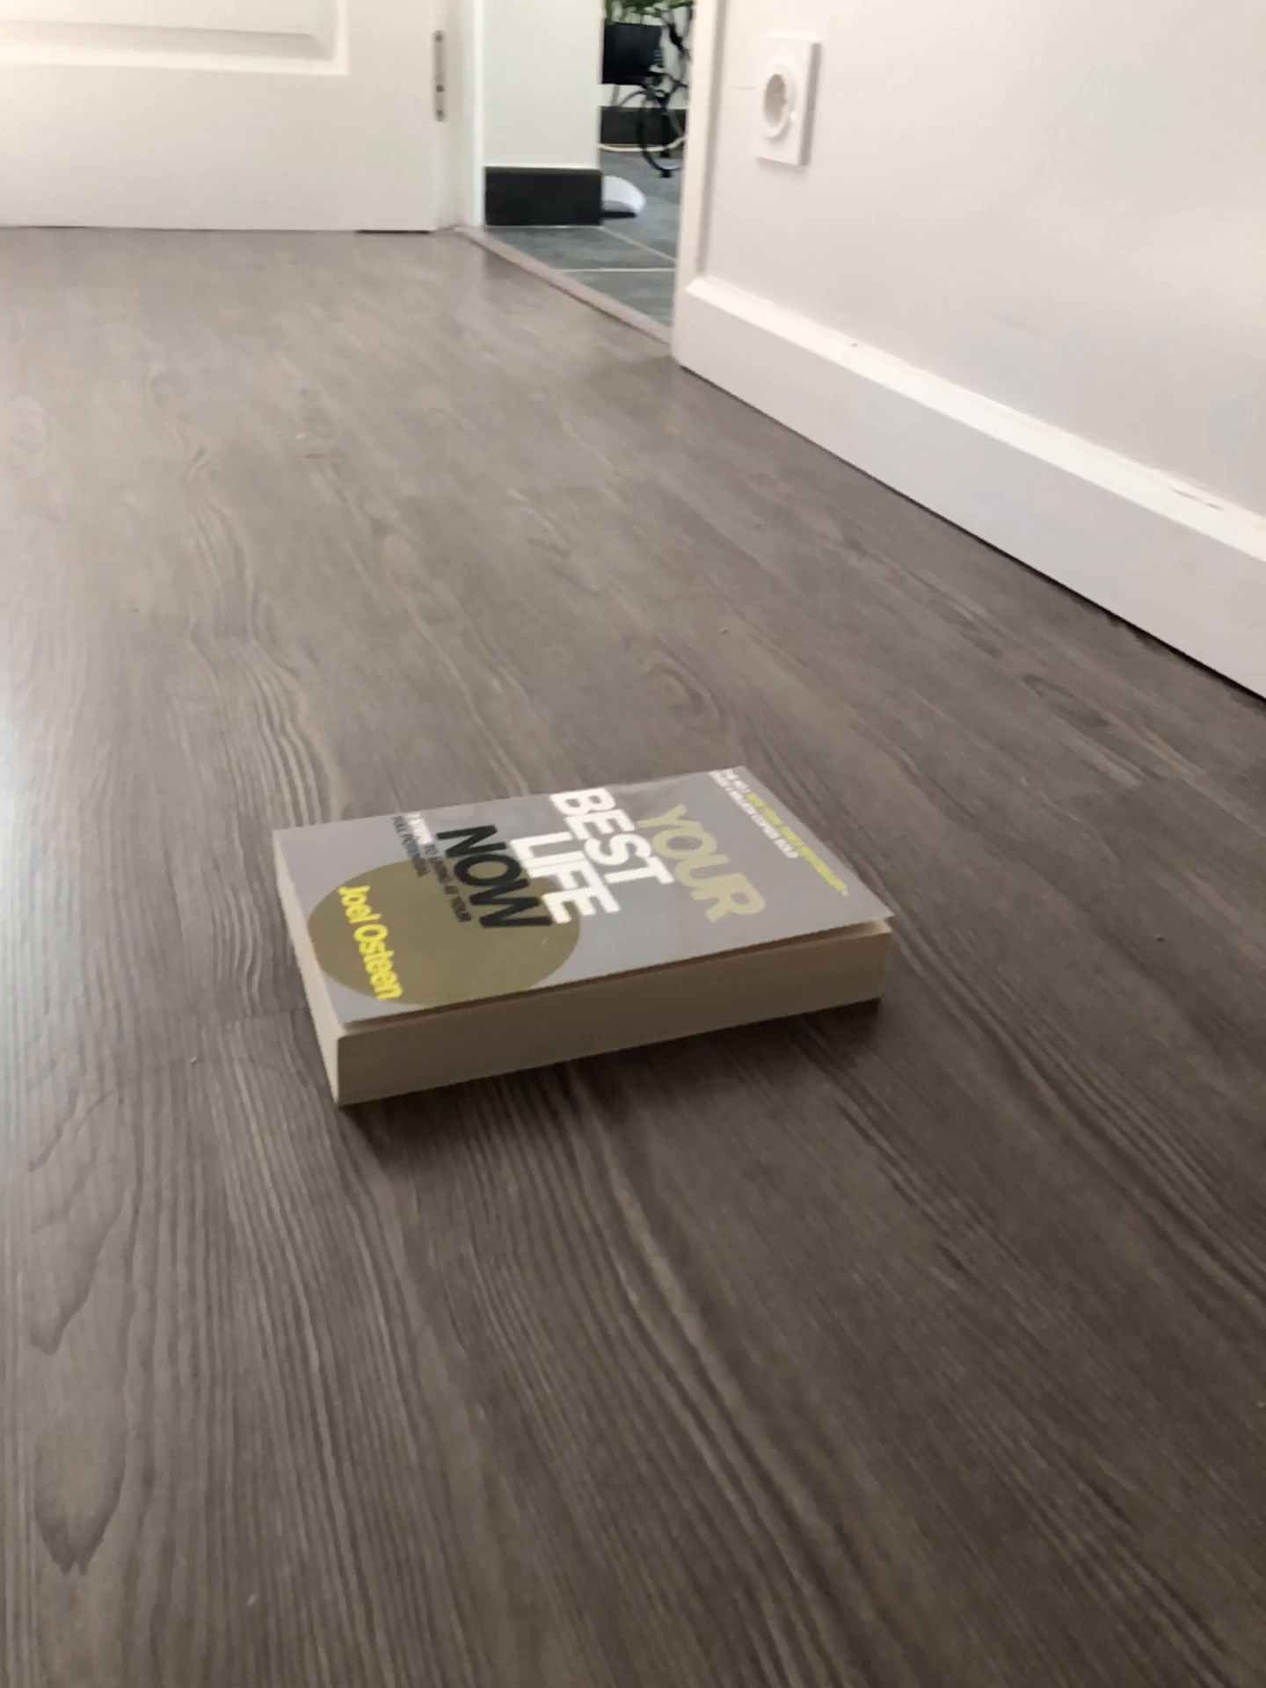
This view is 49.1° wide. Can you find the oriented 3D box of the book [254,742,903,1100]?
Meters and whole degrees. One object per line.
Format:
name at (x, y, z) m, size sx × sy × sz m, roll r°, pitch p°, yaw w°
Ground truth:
book at (-0.025, 0.018, 0.507) m, size 0.202 × 0.030 × 0.137 m, roll -8°, pitch 33°, yaw -19°
